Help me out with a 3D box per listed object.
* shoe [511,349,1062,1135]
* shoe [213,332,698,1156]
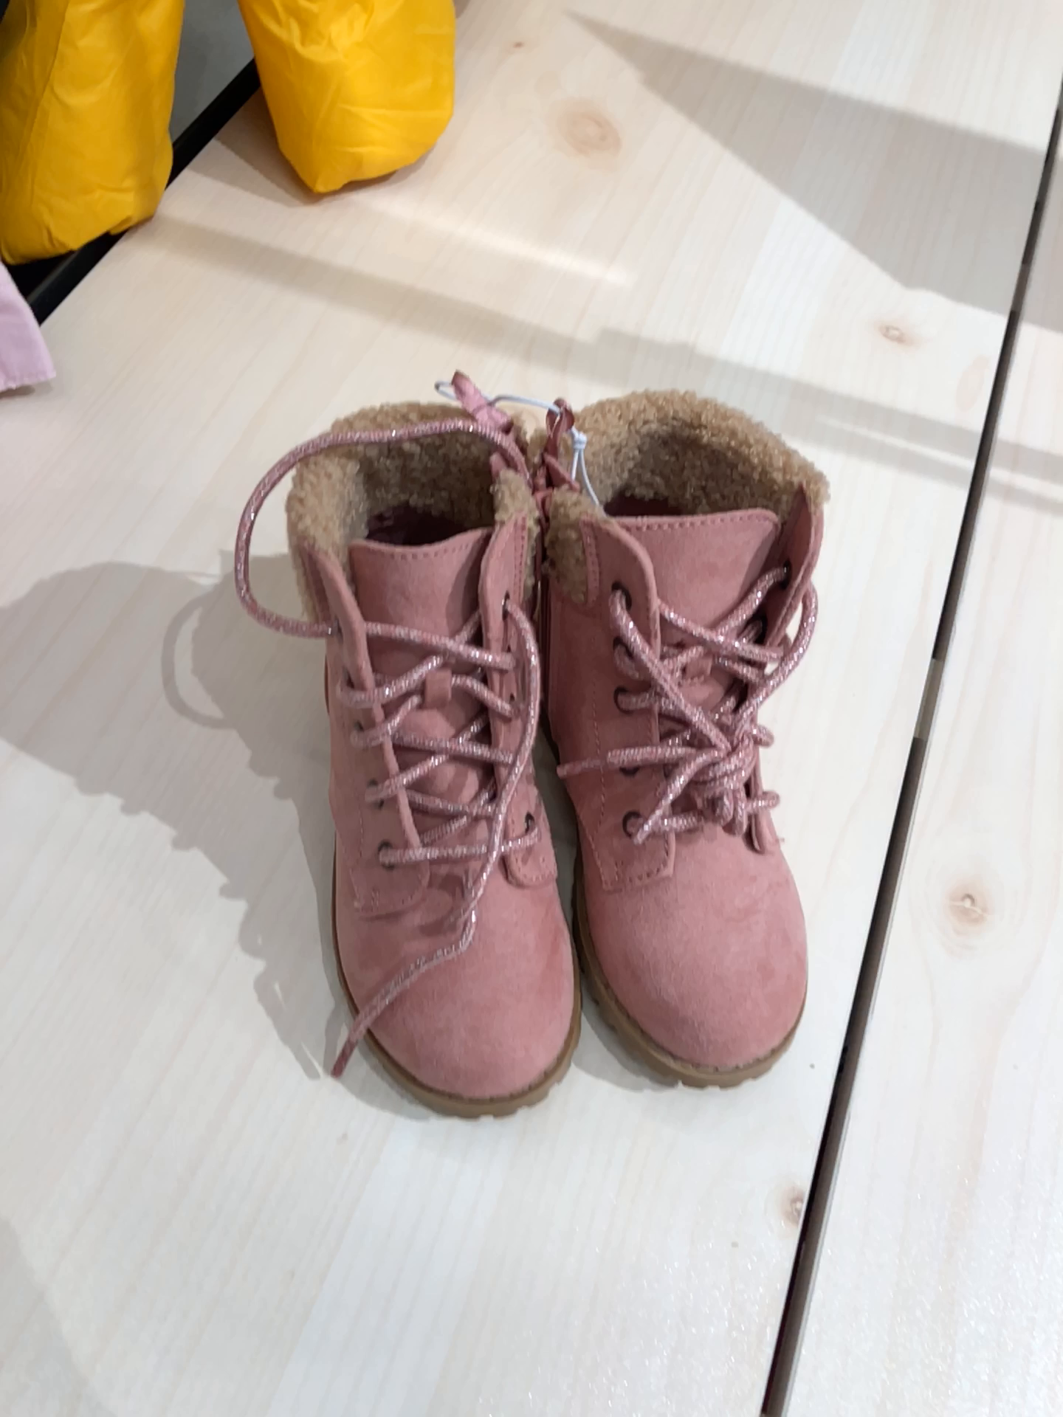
[{"bbox_3d":[0.050,0.010,0.311,0.080,0.120,0.160,-6,58,-8],"label":"shoe"},{"bbox_3d":[-0.027,0.010,0.296,0.080,0.120,0.160,-6,58,-8],"label":"shoe"}]
